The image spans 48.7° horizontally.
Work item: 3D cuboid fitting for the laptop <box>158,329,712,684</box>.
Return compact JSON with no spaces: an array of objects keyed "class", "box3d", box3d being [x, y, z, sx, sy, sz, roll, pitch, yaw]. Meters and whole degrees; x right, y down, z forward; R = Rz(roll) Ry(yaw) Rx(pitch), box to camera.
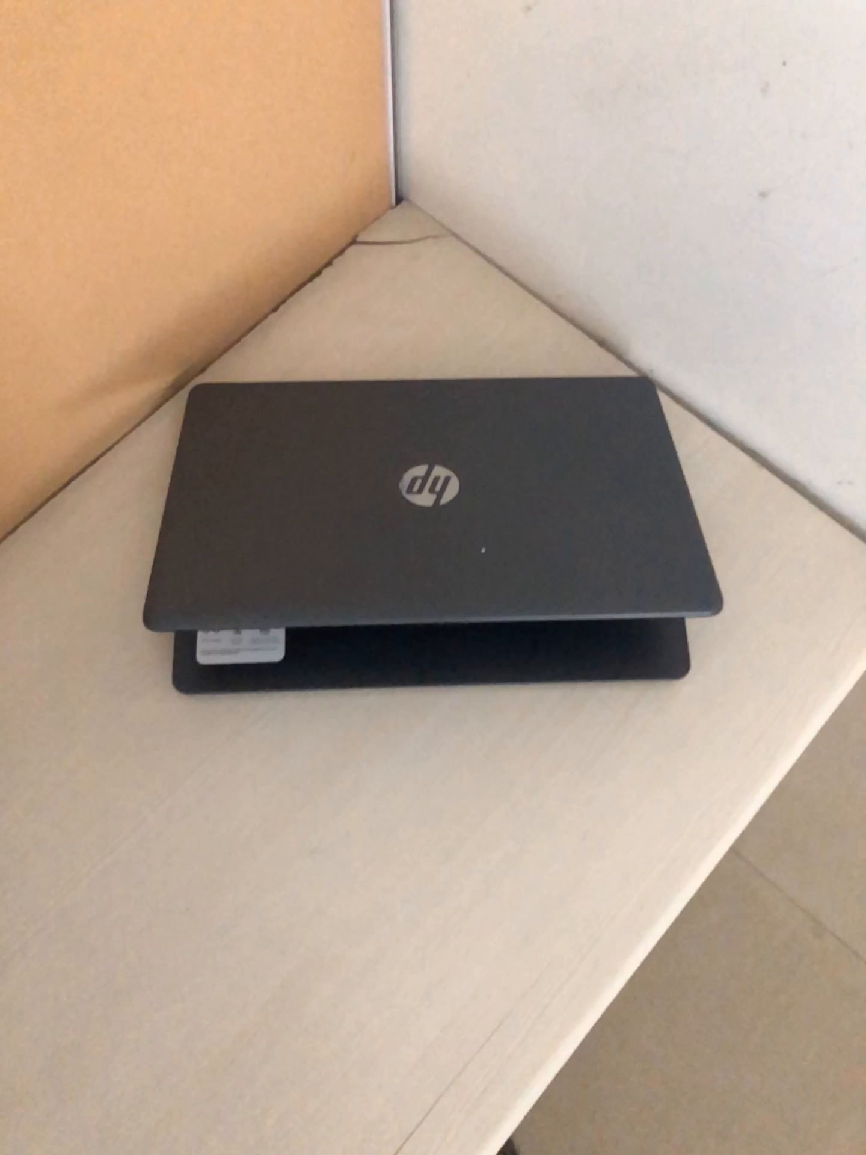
[{"class":"laptop","box3d":[-0.003,-0.053,0.696,0.361,0.074,0.238,-1,71,-2]}]
